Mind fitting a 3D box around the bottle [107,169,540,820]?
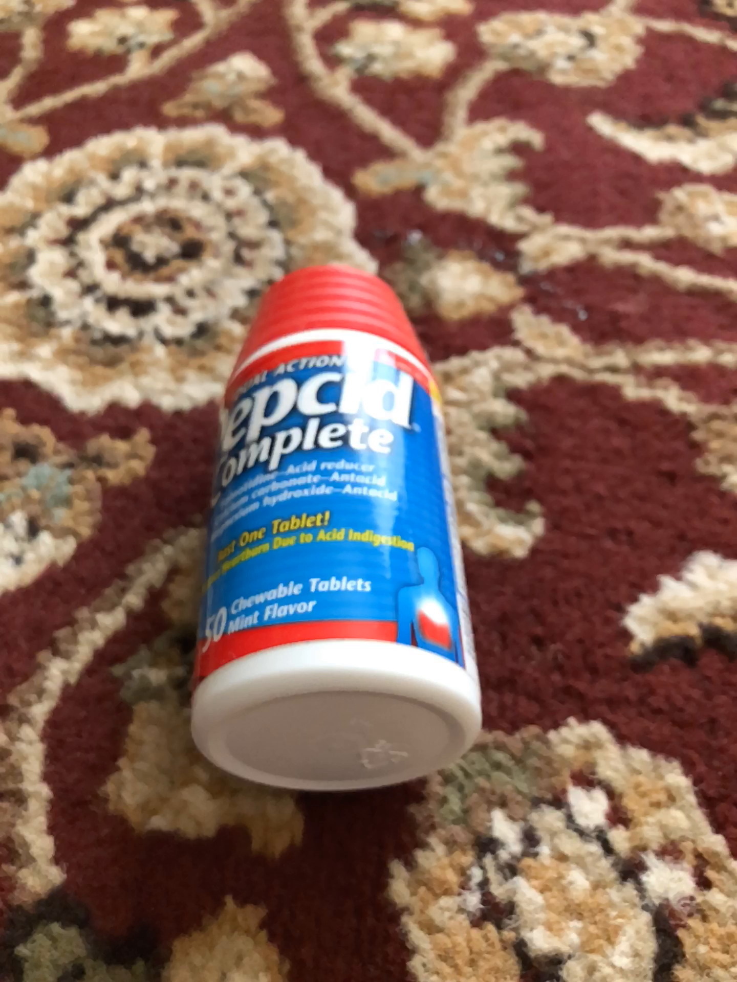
[{"bbox_3d":[-0.007,-0.003,0.196,0.060,0.060,0.130,-16,50,18],"label":"bottle"}]
